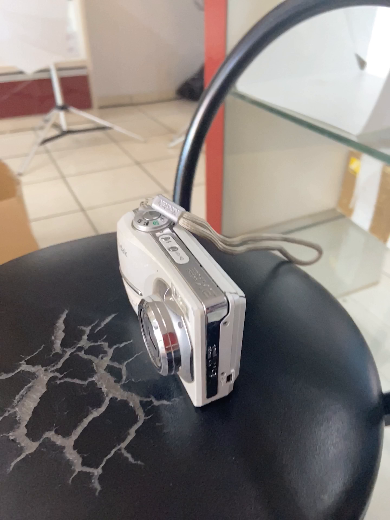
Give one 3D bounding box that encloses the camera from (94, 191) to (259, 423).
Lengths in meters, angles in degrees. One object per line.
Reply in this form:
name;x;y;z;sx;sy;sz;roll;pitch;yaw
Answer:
camera;-0.013;0.018;0.208;0.040;0.070;0.090;-17;38;-23
